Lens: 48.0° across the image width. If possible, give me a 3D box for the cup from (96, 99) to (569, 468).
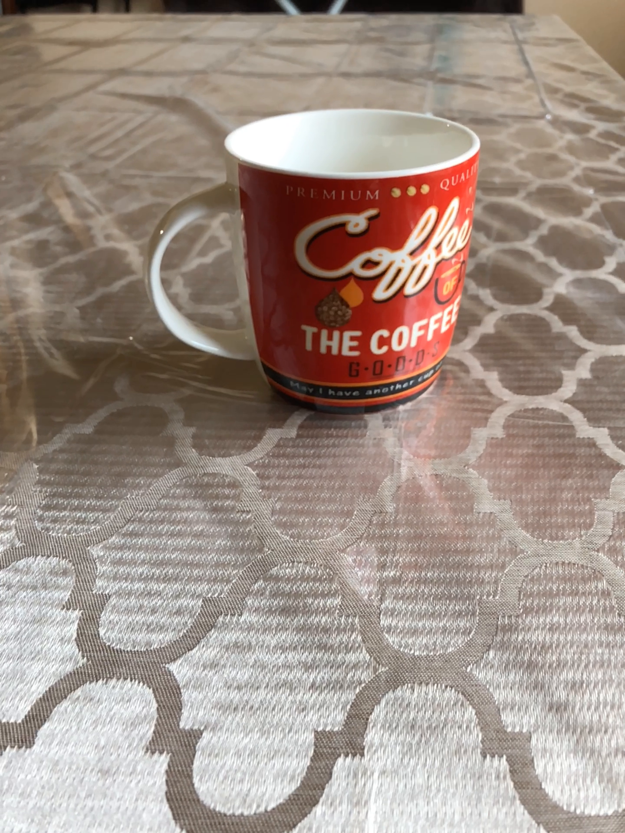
[{"bbox_3d":[-0.002,-0.062,0.269,0.130,0.080,0.120,-1,35,1],"label":"cup"}]
